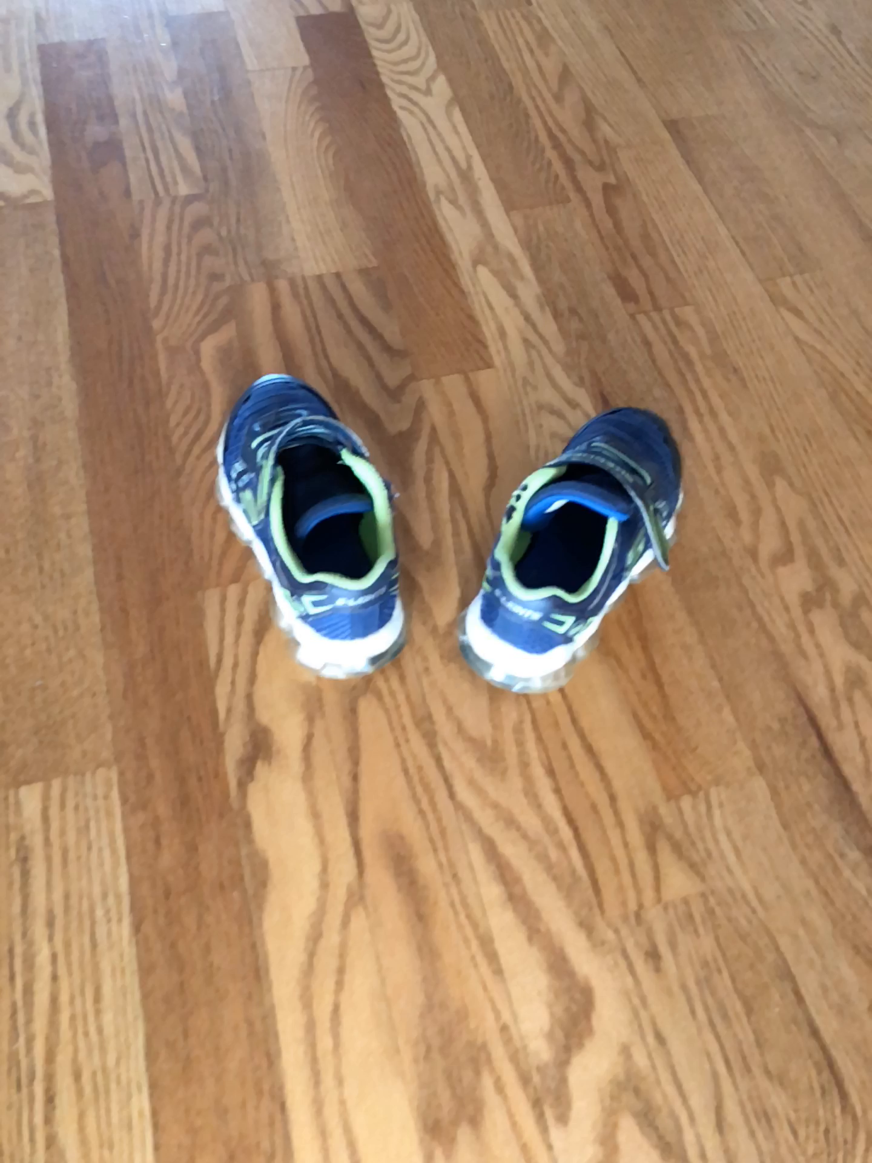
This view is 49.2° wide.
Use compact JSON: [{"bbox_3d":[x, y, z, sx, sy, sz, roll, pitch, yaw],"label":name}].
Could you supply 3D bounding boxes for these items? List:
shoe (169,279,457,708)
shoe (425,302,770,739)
[{"bbox_3d":[-0.071,-0.052,0.522,0.093,0.095,0.203,-15,61,-13],"label":"shoe"},{"bbox_3d":[0.089,-0.039,0.522,0.093,0.087,0.213,27,61,12],"label":"shoe"}]
